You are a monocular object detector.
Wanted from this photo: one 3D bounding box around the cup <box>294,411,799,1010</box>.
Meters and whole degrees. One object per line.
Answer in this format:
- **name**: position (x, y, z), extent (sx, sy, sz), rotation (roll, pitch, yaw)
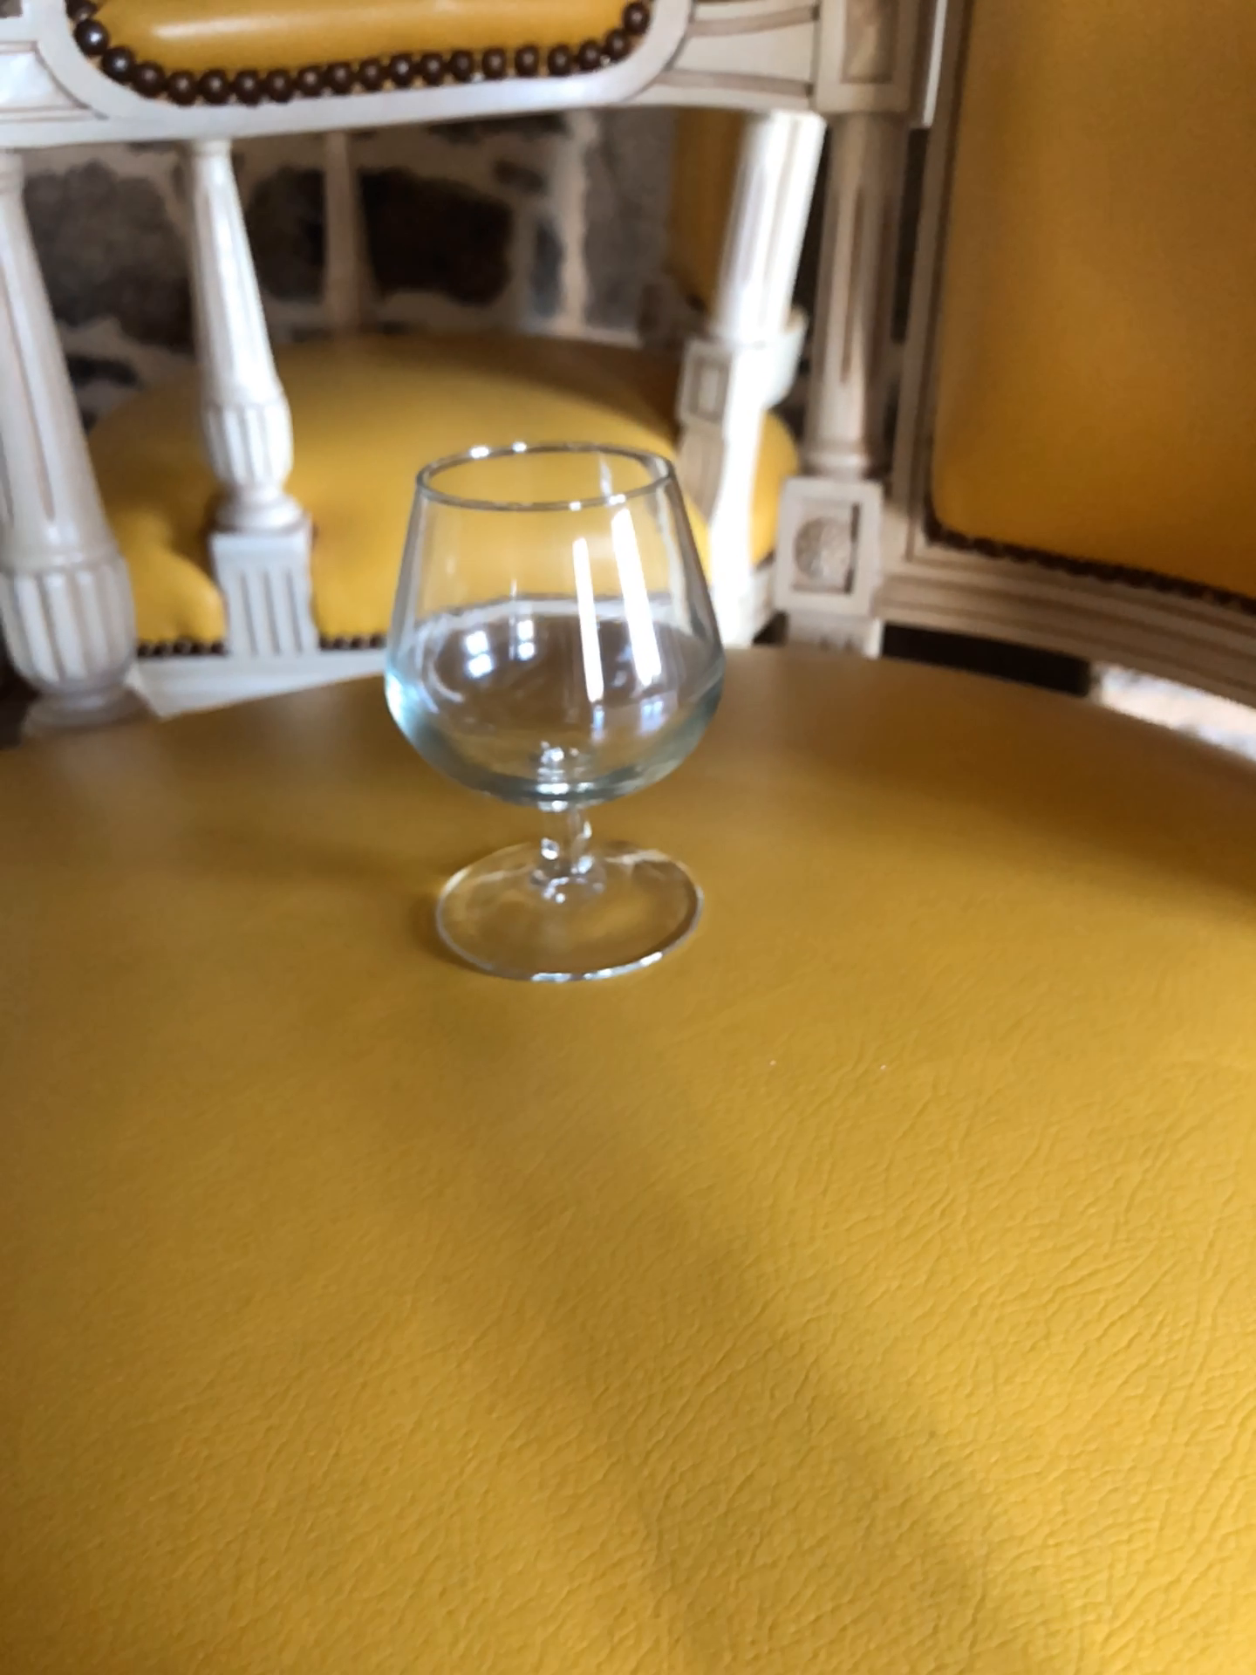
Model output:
- **cup**: position (-0.018, -0.028, 0.272), extent (0.080, 0.090, 0.070), rotation (-5, 27, -10)
